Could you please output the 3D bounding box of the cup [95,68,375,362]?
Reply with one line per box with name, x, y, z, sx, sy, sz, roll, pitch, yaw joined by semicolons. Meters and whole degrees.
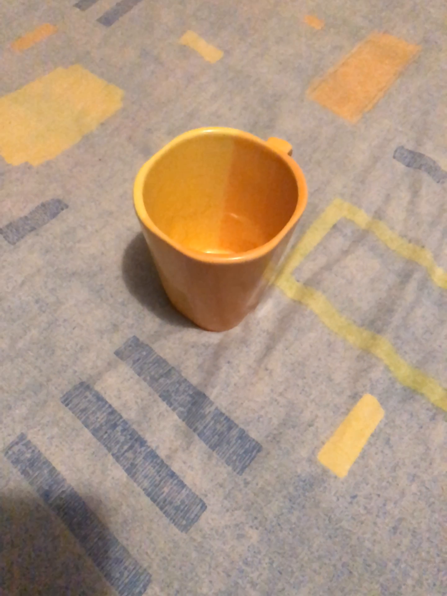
cup;0.007;-0.046;0.275;0.084;0.082;0.111;35;65;16
